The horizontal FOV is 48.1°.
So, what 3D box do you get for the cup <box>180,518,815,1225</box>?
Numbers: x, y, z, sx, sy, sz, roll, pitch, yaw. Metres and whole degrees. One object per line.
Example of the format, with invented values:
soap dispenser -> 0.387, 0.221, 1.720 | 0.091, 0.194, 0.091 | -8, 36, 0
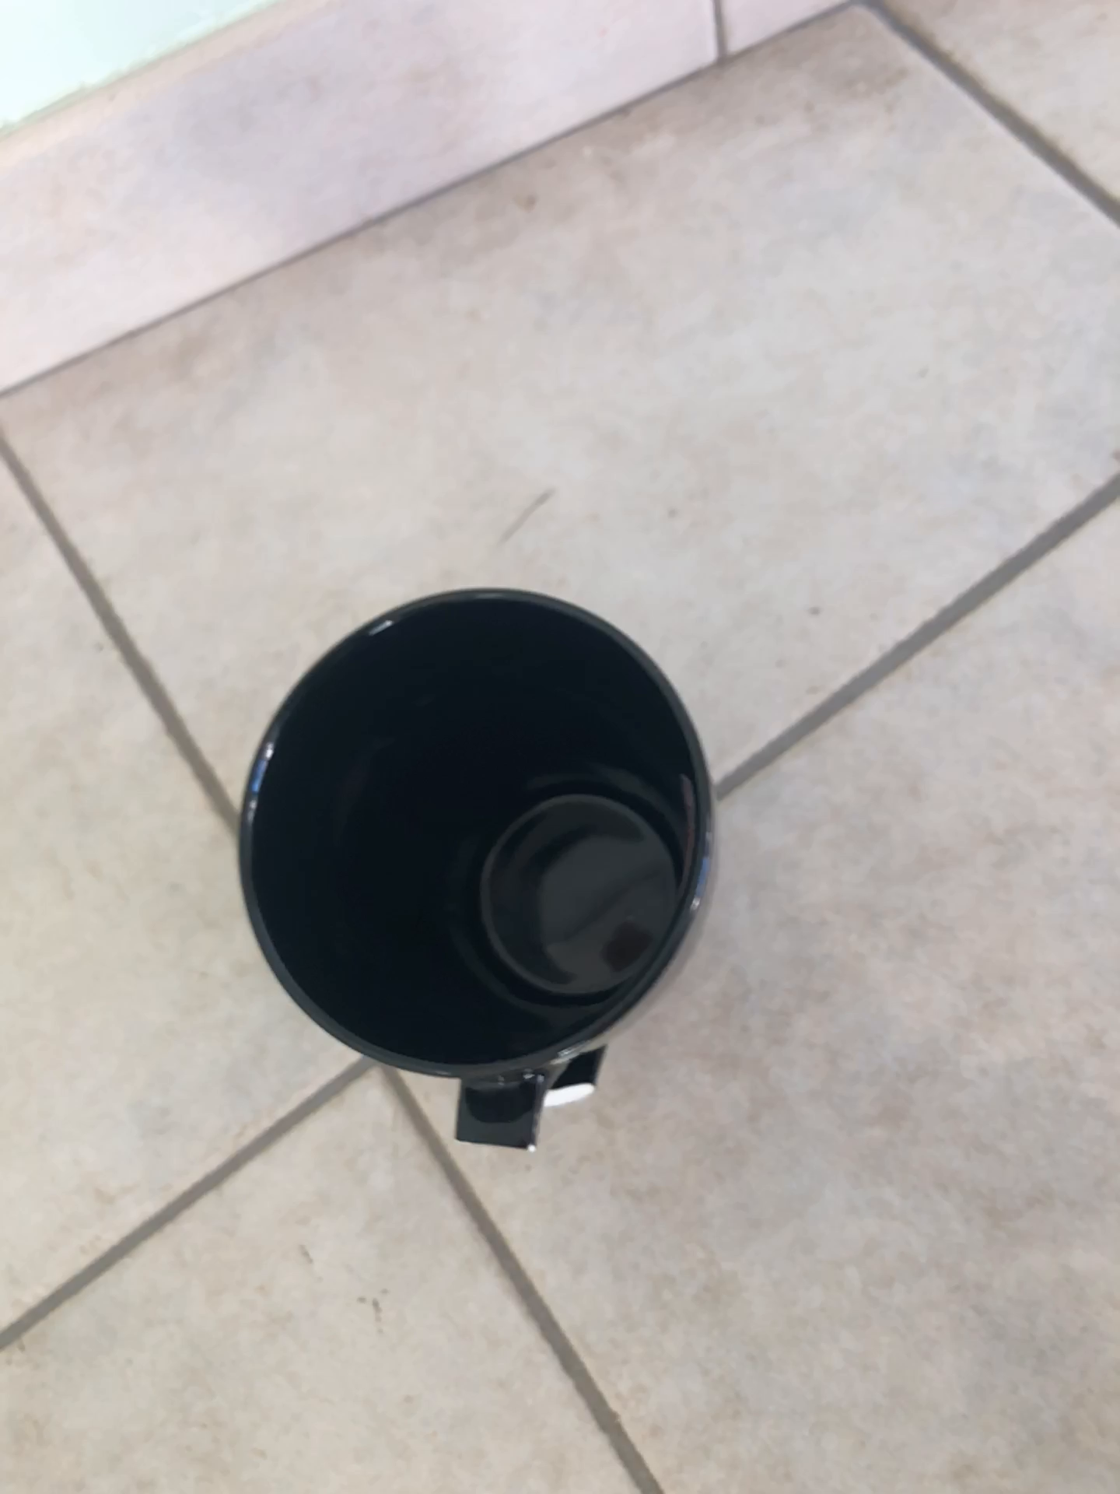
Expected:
cup -> -0.007, 0.032, 0.274 | 0.097, 0.103, 0.108 | -14, 74, 8
